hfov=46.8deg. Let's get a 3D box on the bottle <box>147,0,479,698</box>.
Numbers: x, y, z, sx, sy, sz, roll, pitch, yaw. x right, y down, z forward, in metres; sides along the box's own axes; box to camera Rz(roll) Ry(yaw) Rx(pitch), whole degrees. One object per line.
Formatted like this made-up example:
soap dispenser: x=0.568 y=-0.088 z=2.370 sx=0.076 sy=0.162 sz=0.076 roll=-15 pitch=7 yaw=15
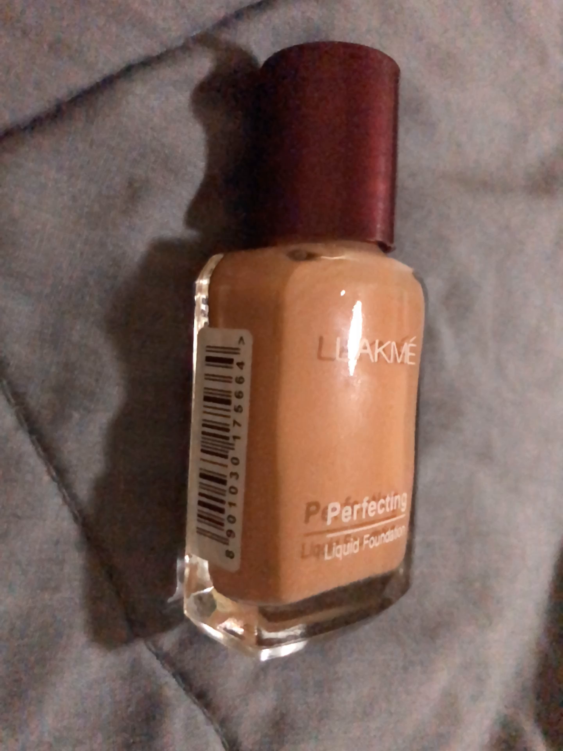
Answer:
bottle: x=0.008 y=-0.013 z=0.113 sx=0.050 sy=0.030 sz=0.110 roll=1 pitch=91 yaw=-49
